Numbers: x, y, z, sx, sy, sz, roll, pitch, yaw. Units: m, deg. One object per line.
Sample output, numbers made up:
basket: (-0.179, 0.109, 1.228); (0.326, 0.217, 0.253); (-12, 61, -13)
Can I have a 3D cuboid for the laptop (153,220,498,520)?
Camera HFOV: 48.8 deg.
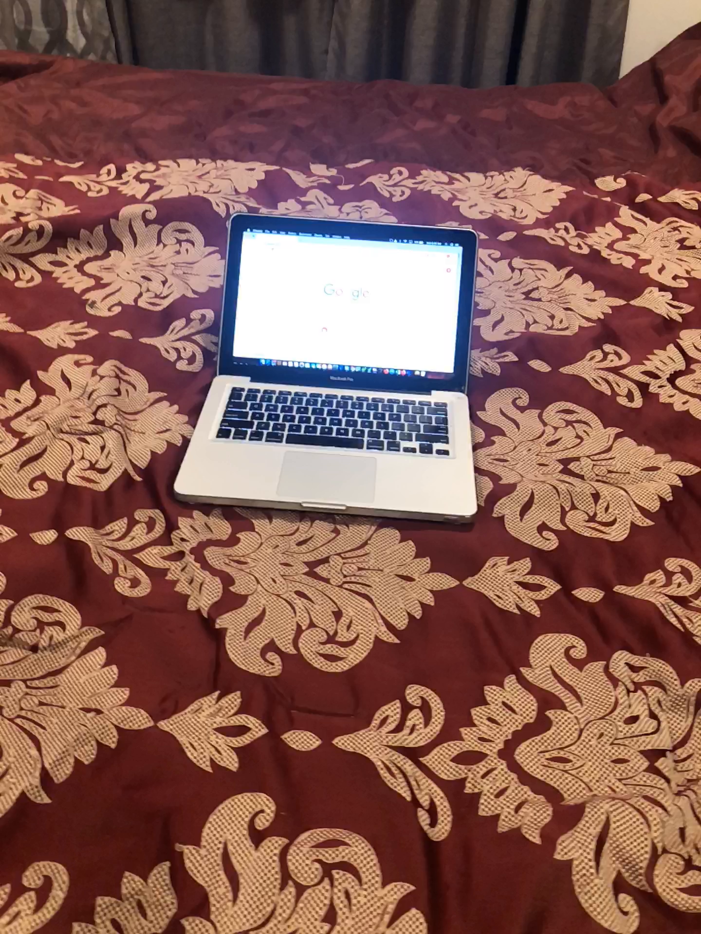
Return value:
laptop: (-0.011, -0.122, 0.827); (0.292, 0.133, 0.344); (4, 41, 1)
